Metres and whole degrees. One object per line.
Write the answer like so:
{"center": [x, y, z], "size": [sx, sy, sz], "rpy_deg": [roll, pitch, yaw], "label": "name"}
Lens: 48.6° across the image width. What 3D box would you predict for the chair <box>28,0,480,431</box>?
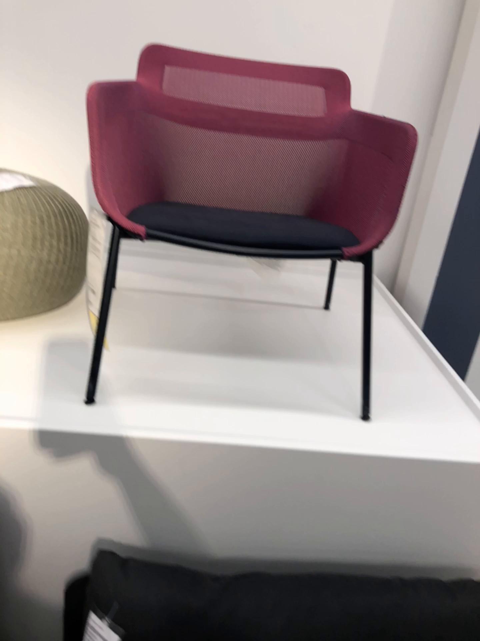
{"center": [-0.001, -0.344, 1.406], "size": [0.780, 0.747, 1.014], "rpy_deg": [5, 24, -7], "label": "chair"}
